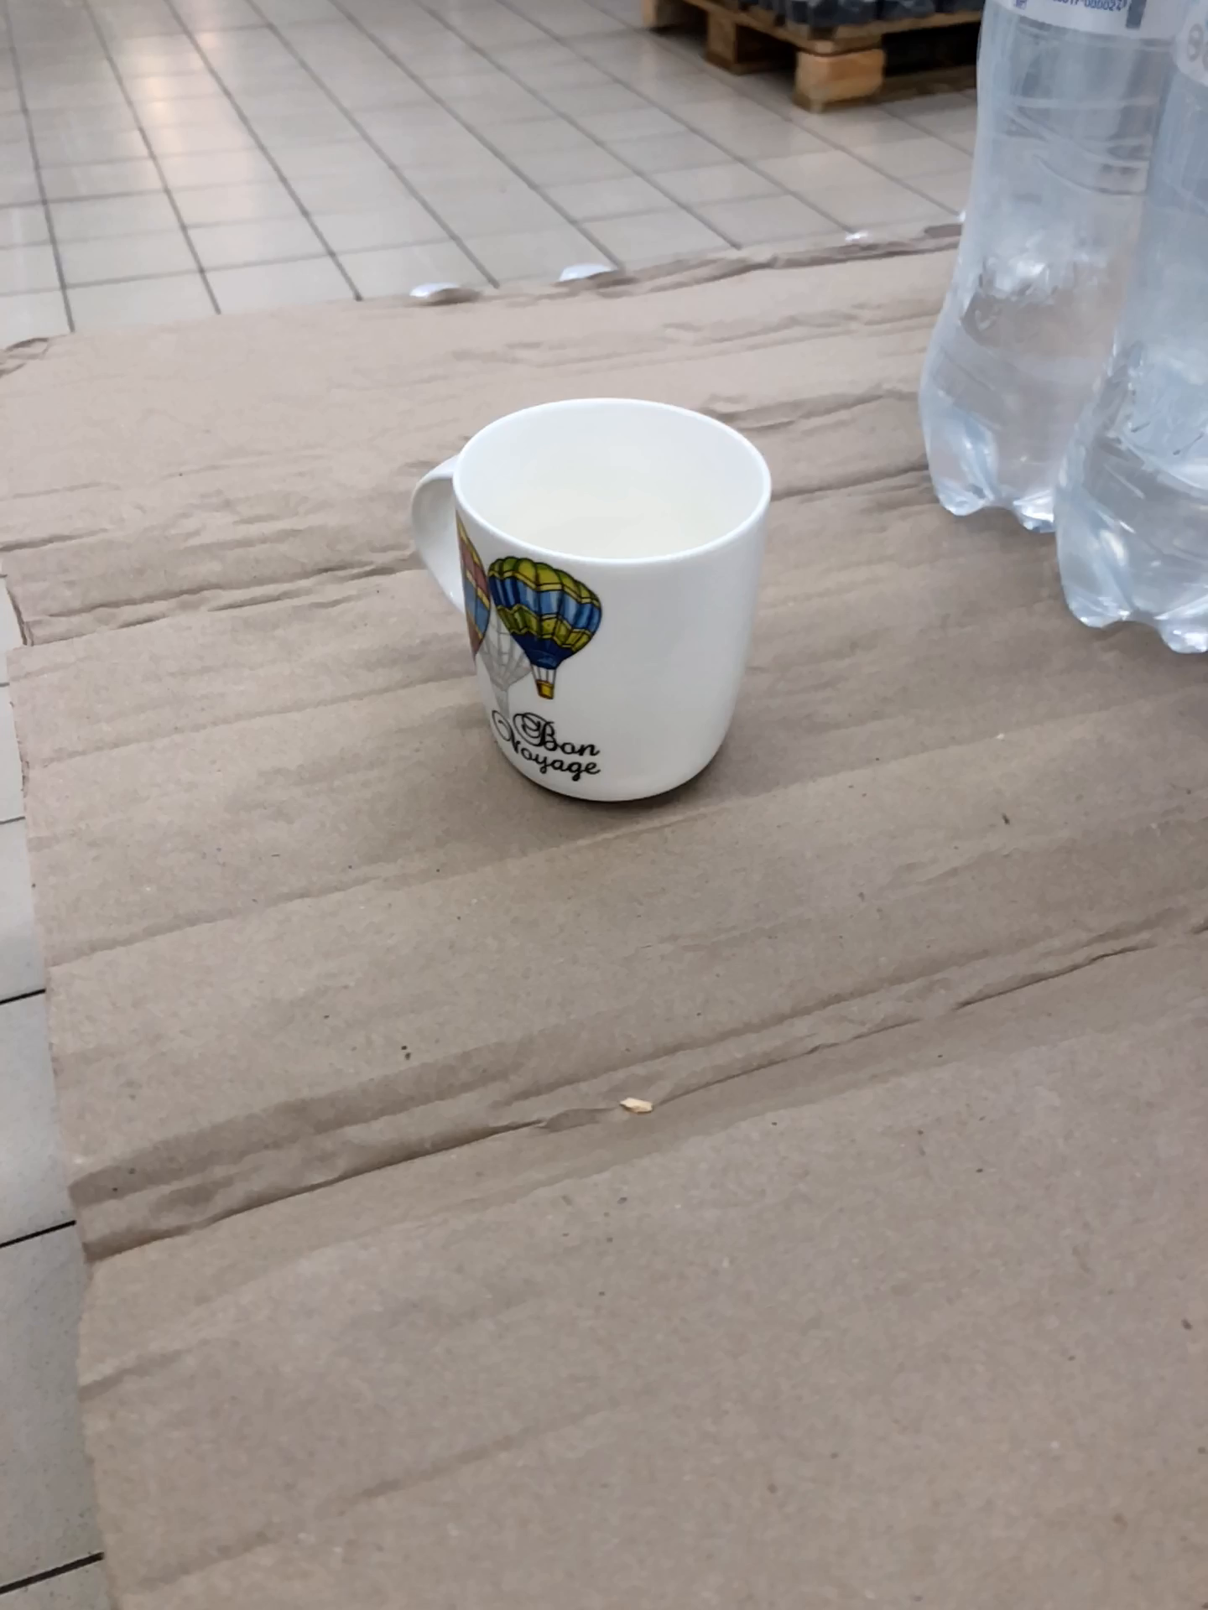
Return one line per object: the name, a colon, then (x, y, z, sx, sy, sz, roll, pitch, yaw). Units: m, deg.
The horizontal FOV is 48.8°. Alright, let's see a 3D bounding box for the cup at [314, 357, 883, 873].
cup: (-0.002, -0.063, 0.401, 0.131, 0.082, 0.093, 29, 50, 29)
